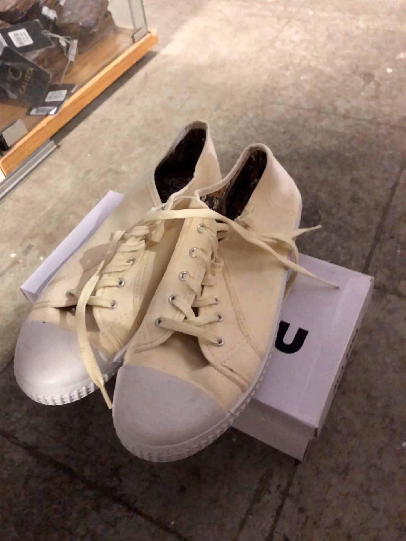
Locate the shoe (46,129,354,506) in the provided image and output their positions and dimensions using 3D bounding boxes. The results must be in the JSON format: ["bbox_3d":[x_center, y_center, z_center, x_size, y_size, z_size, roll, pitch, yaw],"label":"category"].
[{"bbox_3d":[0.018,0.012,0.325,0.100,0.079,0.251,19,56,20],"label":"shoe"}]

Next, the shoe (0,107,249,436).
[{"bbox_3d":[-0.056,-0.019,0.364,0.090,0.079,0.261,19,56,20],"label":"shoe"}]
